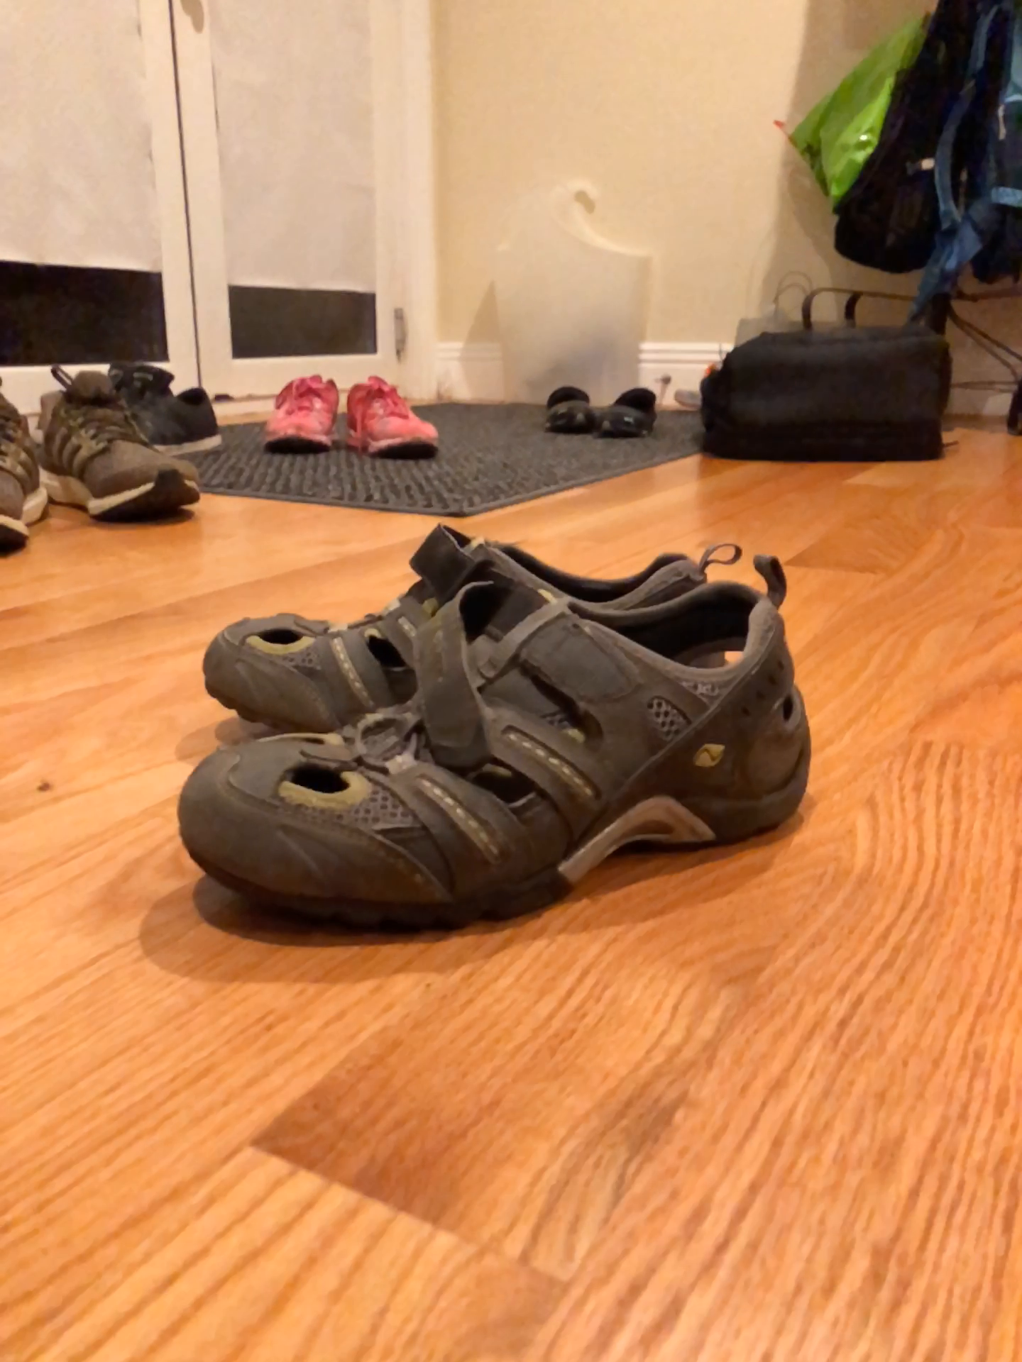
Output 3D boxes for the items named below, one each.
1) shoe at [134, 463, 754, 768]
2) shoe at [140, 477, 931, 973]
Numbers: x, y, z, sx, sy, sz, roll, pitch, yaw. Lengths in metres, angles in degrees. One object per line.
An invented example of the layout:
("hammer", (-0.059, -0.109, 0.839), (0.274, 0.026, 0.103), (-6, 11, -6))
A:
("shoe", (-0.025, -0.035, 0.505), (0.245, 0.113, 0.101), (1, 17, 3))
("shoe", (0.011, -0.002, 0.391), (0.245, 0.113, 0.100), (-8, 18, -25))
